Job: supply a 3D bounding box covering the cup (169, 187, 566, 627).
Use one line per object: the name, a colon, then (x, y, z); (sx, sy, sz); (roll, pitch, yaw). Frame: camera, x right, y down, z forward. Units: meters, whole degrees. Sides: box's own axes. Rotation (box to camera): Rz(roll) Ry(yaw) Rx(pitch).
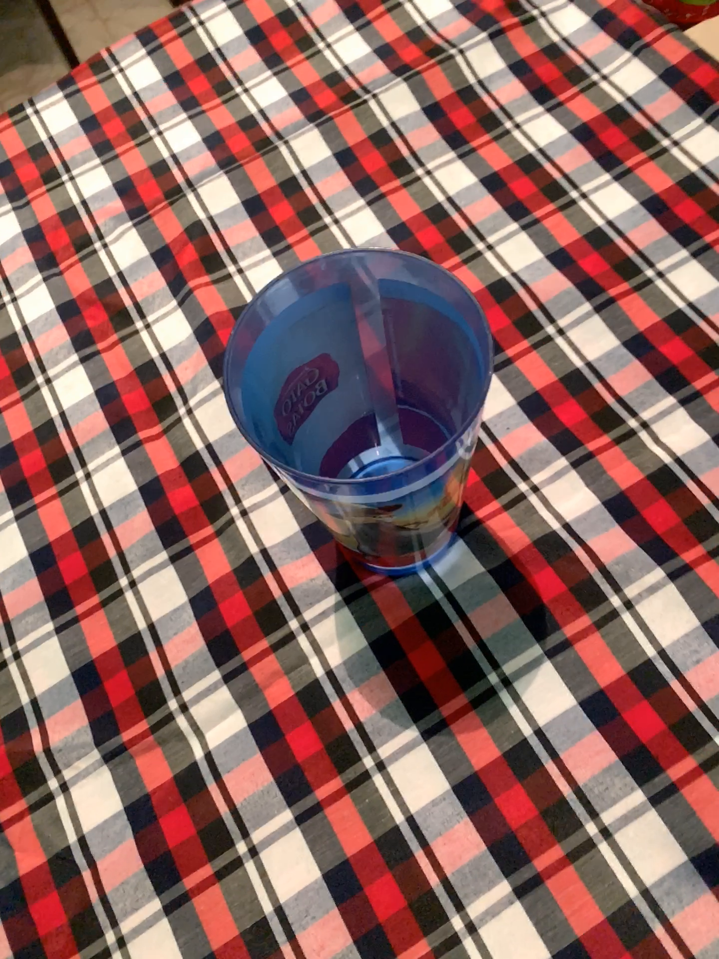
cup: (0.008, -0.019, 0.296); (0.090, 0.130, 0.090); (-3, 66, 6)
